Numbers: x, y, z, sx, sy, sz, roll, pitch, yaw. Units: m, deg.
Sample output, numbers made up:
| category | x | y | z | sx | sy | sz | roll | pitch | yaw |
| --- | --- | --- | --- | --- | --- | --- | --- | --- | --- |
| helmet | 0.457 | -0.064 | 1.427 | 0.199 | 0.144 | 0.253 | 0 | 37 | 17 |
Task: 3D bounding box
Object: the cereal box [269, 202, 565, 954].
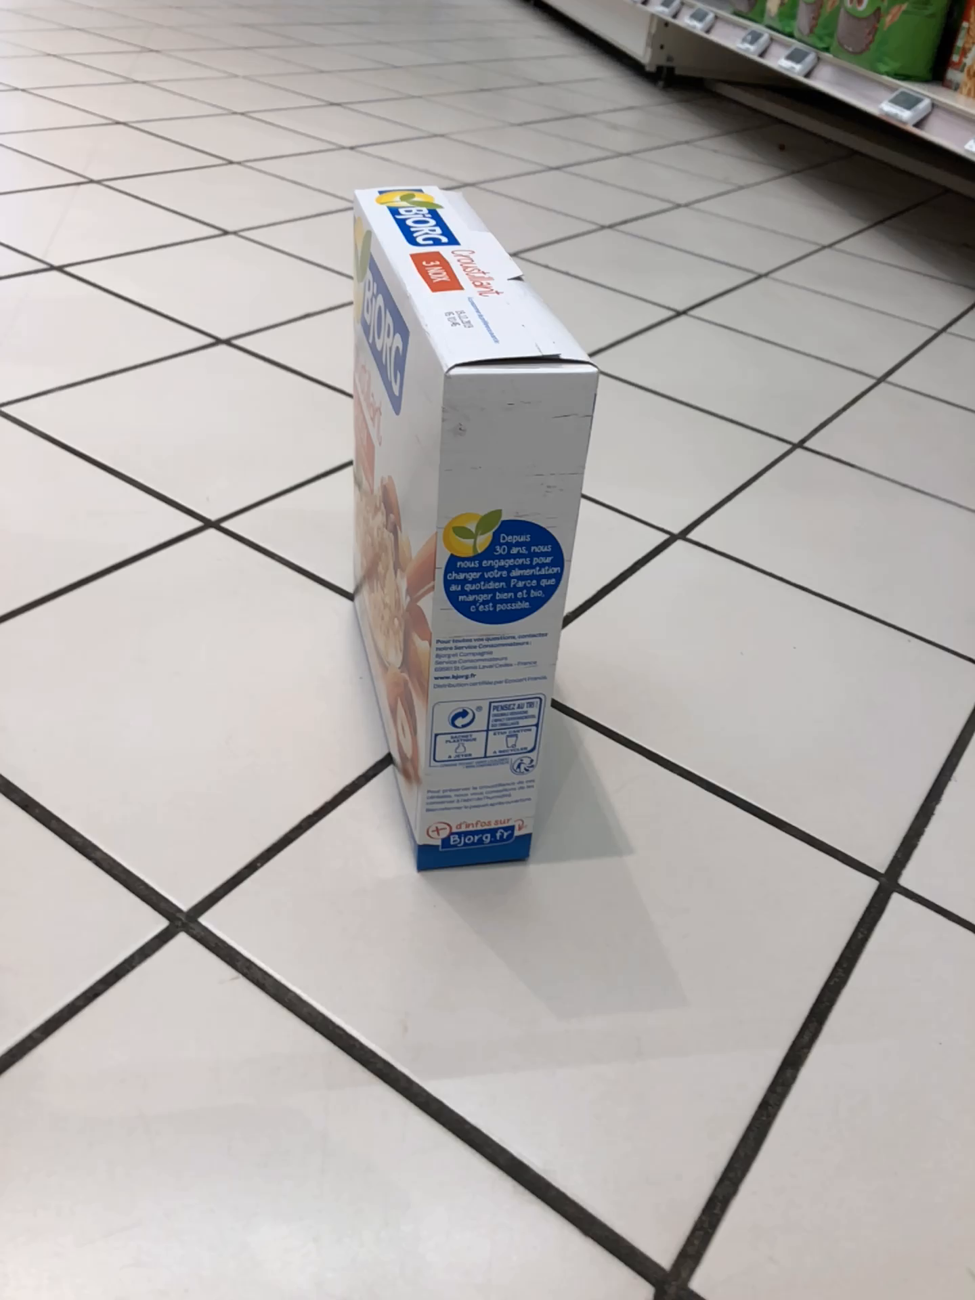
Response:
| category | x | y | z | sx | sy | sz | roll | pitch | yaw |
| --- | --- | --- | --- | --- | --- | --- | --- | --- | --- |
| cereal box | -0.038 | -0.039 | 0.429 | 0.060 | 0.219 | 0.211 | -7 | 35 | -13 |
